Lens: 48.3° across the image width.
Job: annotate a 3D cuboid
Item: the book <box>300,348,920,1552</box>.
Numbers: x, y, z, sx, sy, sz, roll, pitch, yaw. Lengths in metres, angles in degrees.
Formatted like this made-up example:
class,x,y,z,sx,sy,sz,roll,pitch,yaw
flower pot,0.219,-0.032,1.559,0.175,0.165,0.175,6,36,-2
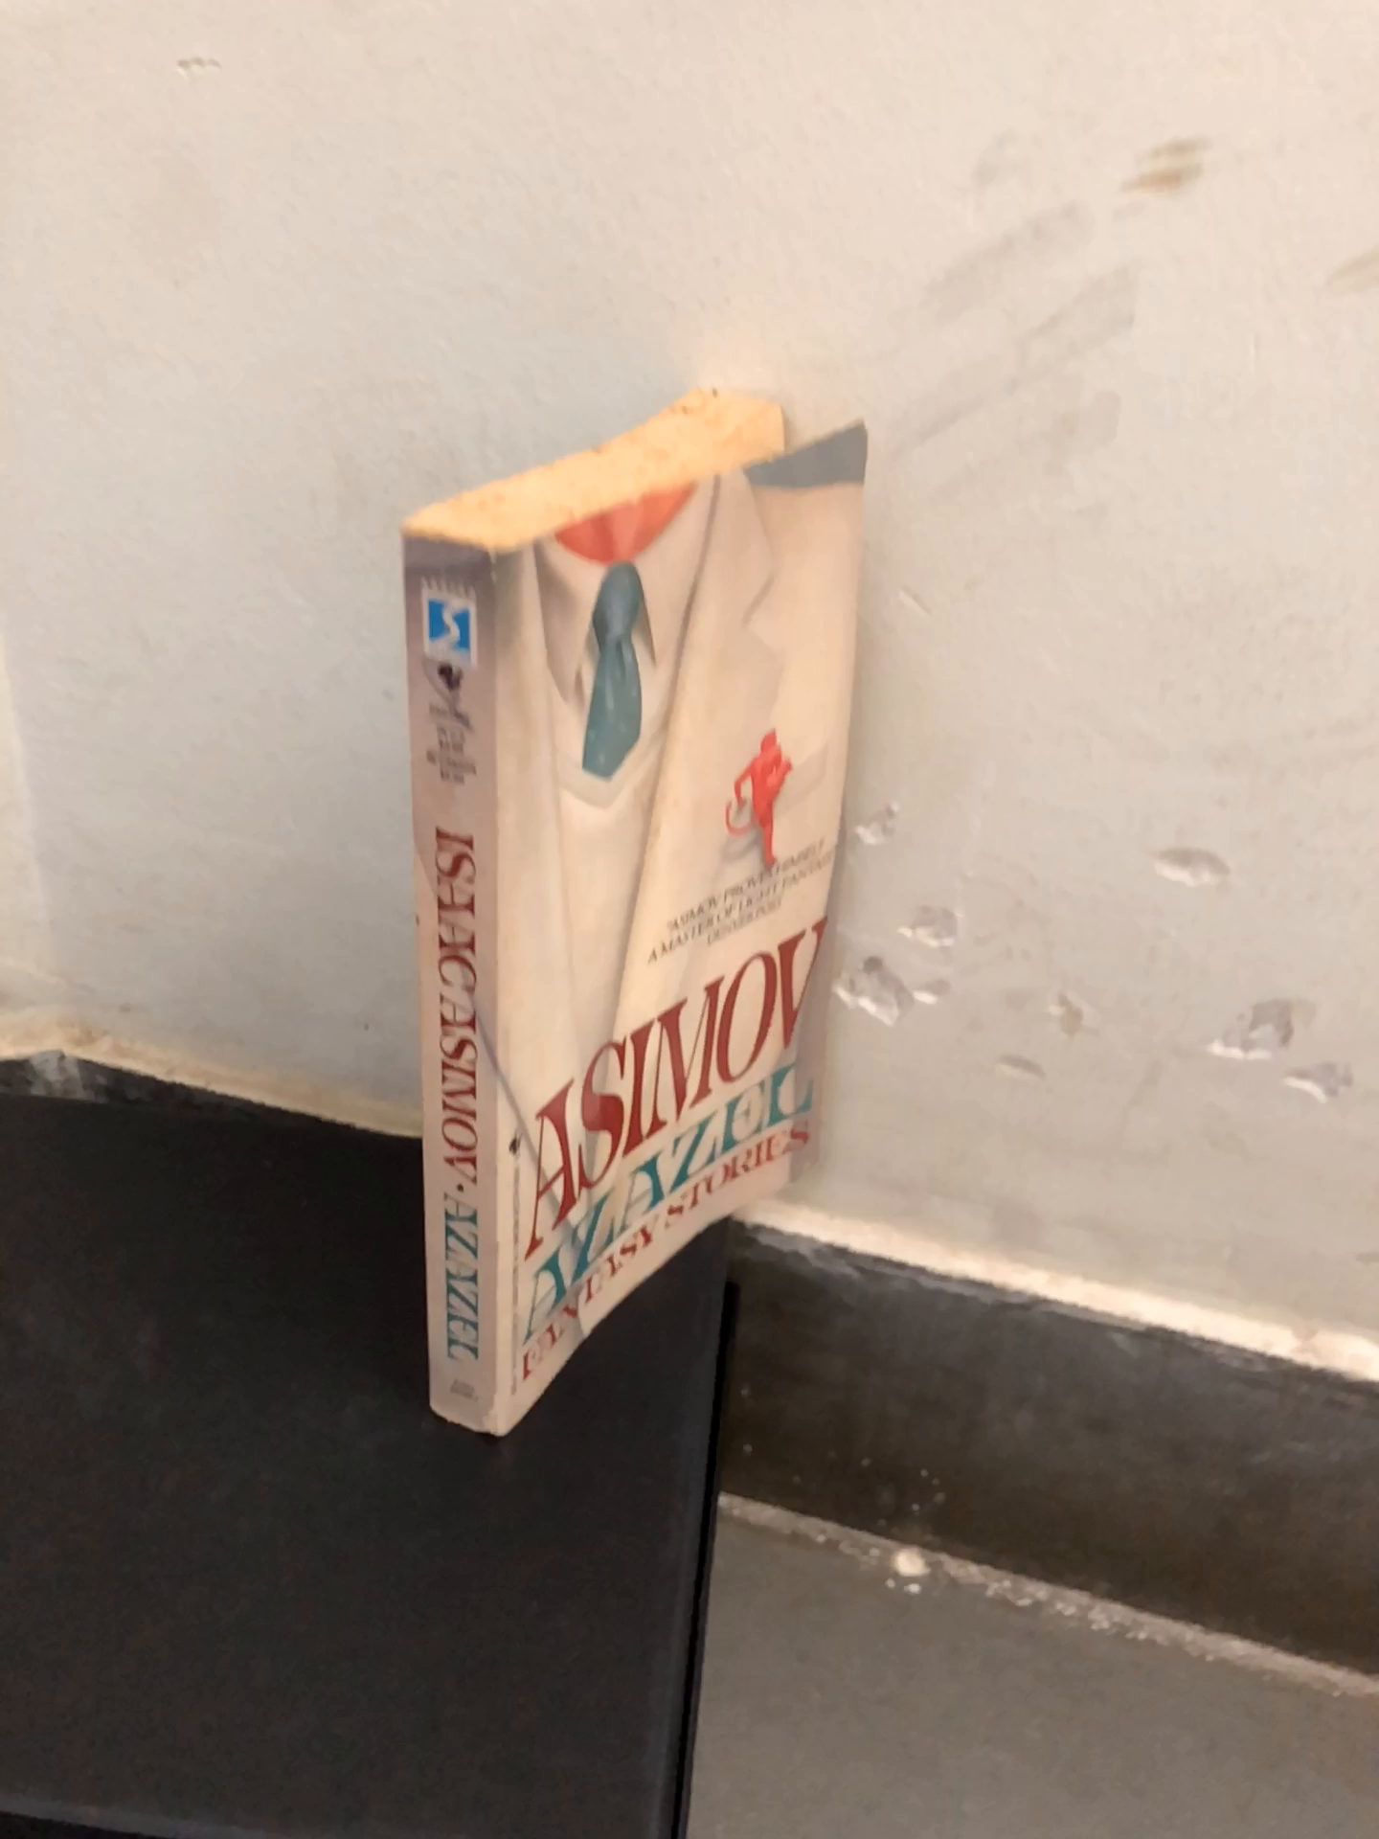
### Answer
class,x,y,z,sx,sy,sz,roll,pitch,yaw
book,-0.004,-0.001,0.304,0.030,0.189,0.151,15,33,24
